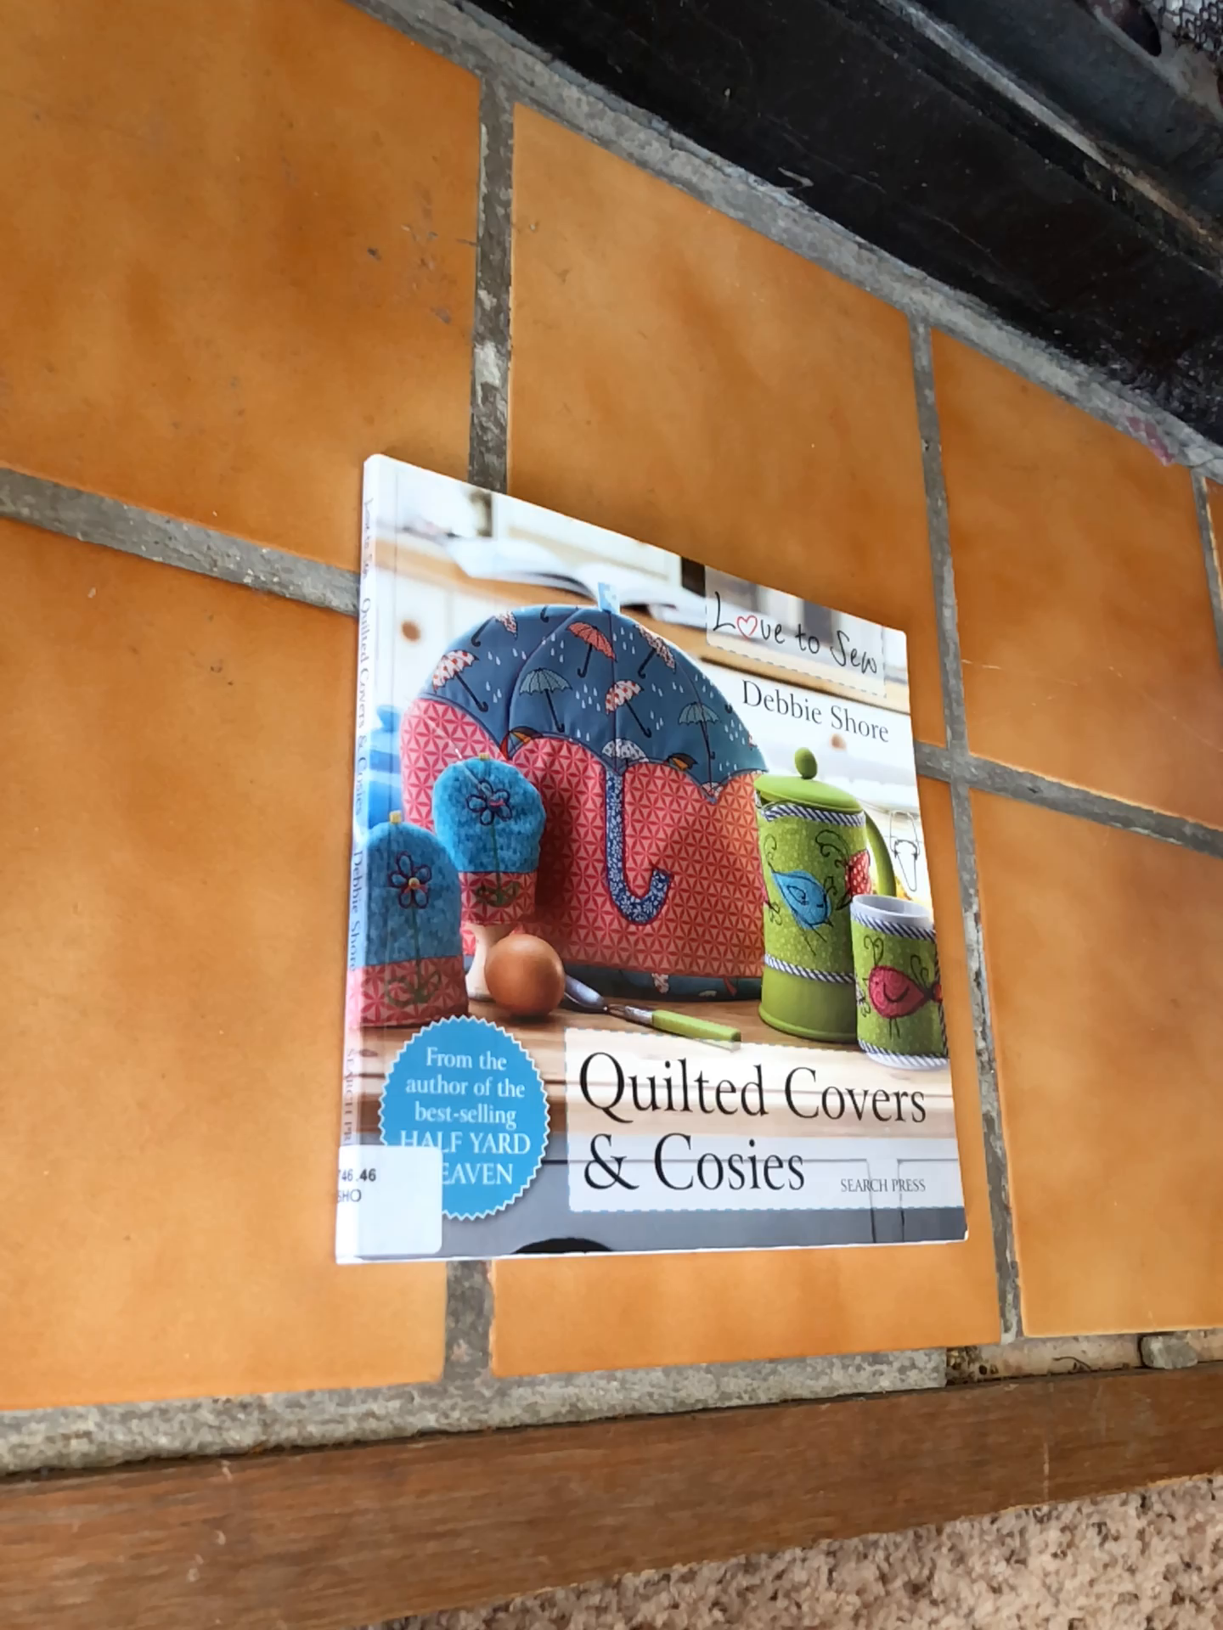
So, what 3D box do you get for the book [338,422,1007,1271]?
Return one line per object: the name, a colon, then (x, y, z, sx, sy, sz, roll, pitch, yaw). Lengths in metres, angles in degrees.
book: (0.029, 0.017, 0.406, 0.225, 0.015, 0.219, 11, 69, -35)
